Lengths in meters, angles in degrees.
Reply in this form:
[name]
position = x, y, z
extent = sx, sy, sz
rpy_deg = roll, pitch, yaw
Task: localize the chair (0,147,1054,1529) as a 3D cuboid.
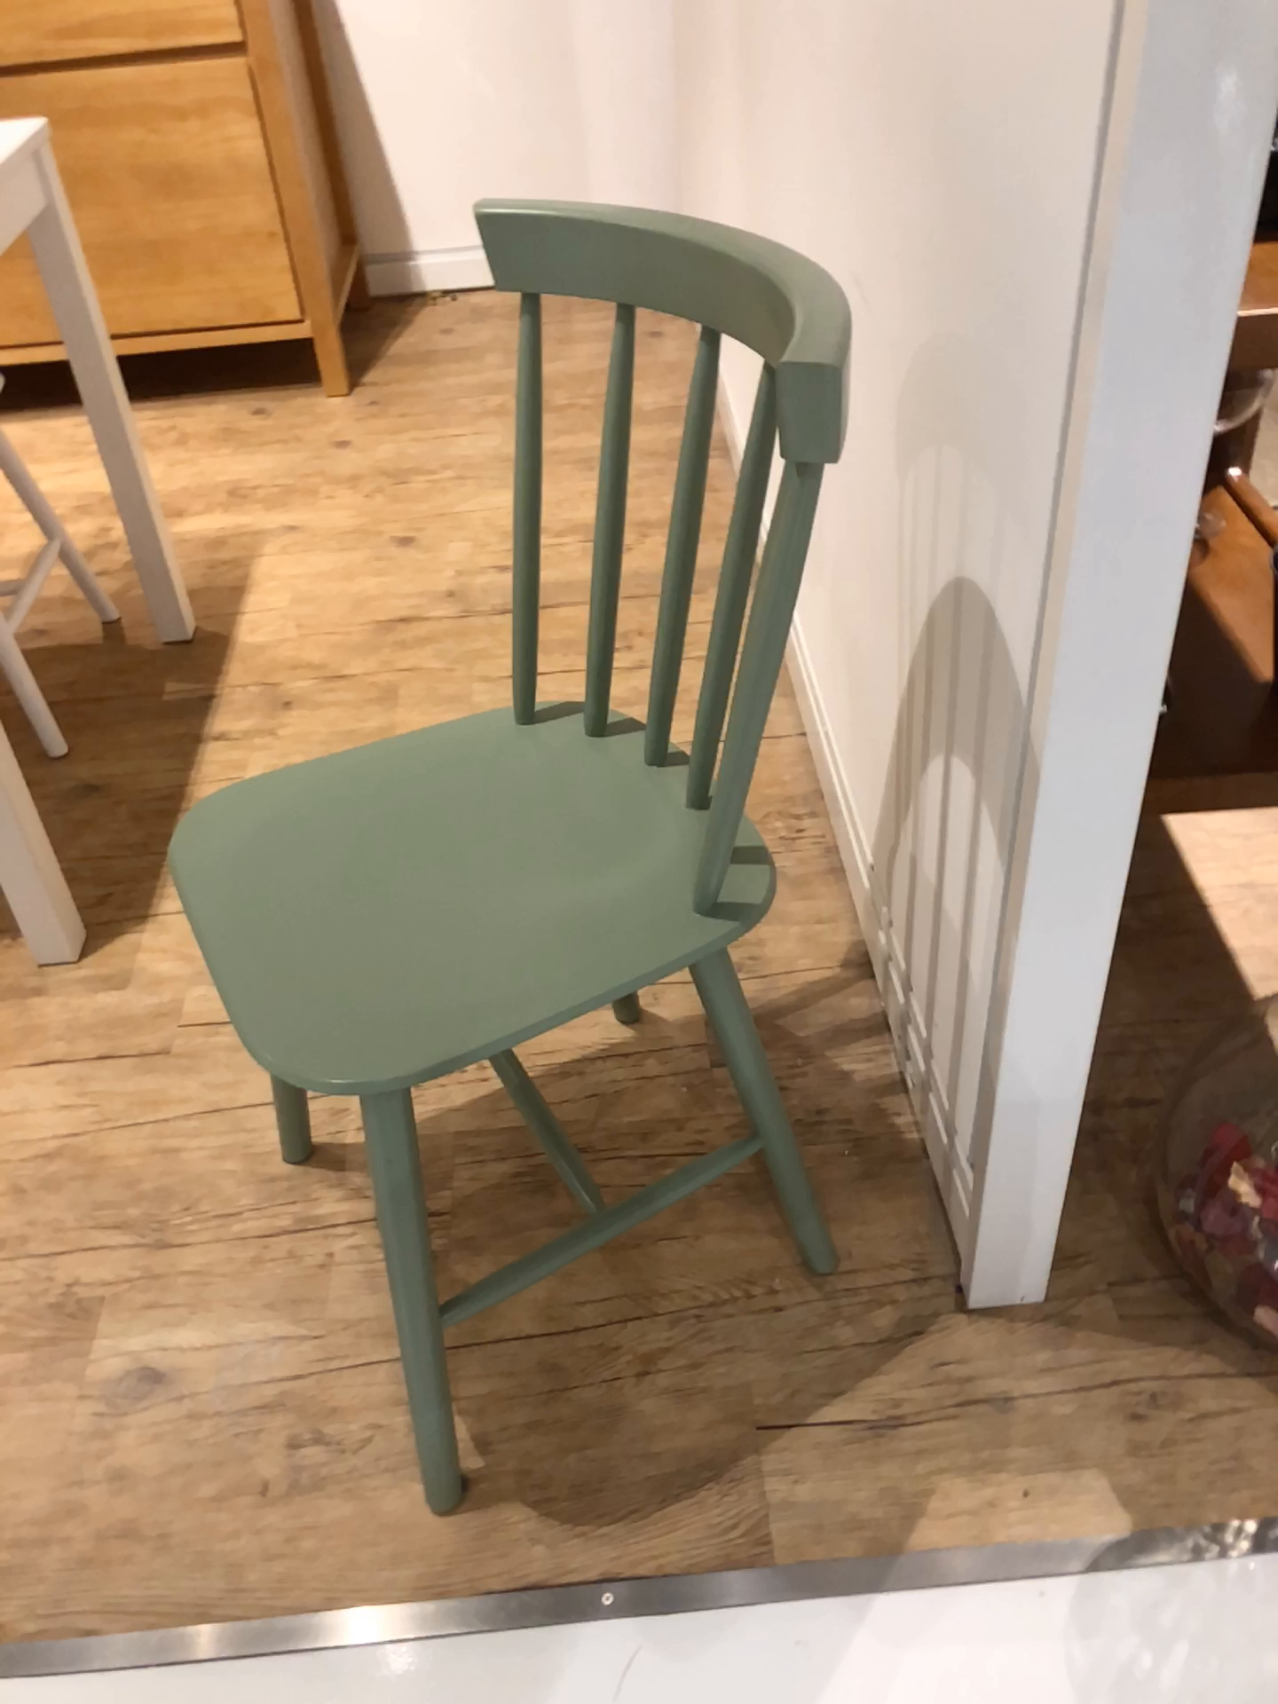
[chair]
position = -0.091, -0.009, 1.077
extent = 0.521, 0.813, 0.473
rpy_deg = -21, 41, -18
